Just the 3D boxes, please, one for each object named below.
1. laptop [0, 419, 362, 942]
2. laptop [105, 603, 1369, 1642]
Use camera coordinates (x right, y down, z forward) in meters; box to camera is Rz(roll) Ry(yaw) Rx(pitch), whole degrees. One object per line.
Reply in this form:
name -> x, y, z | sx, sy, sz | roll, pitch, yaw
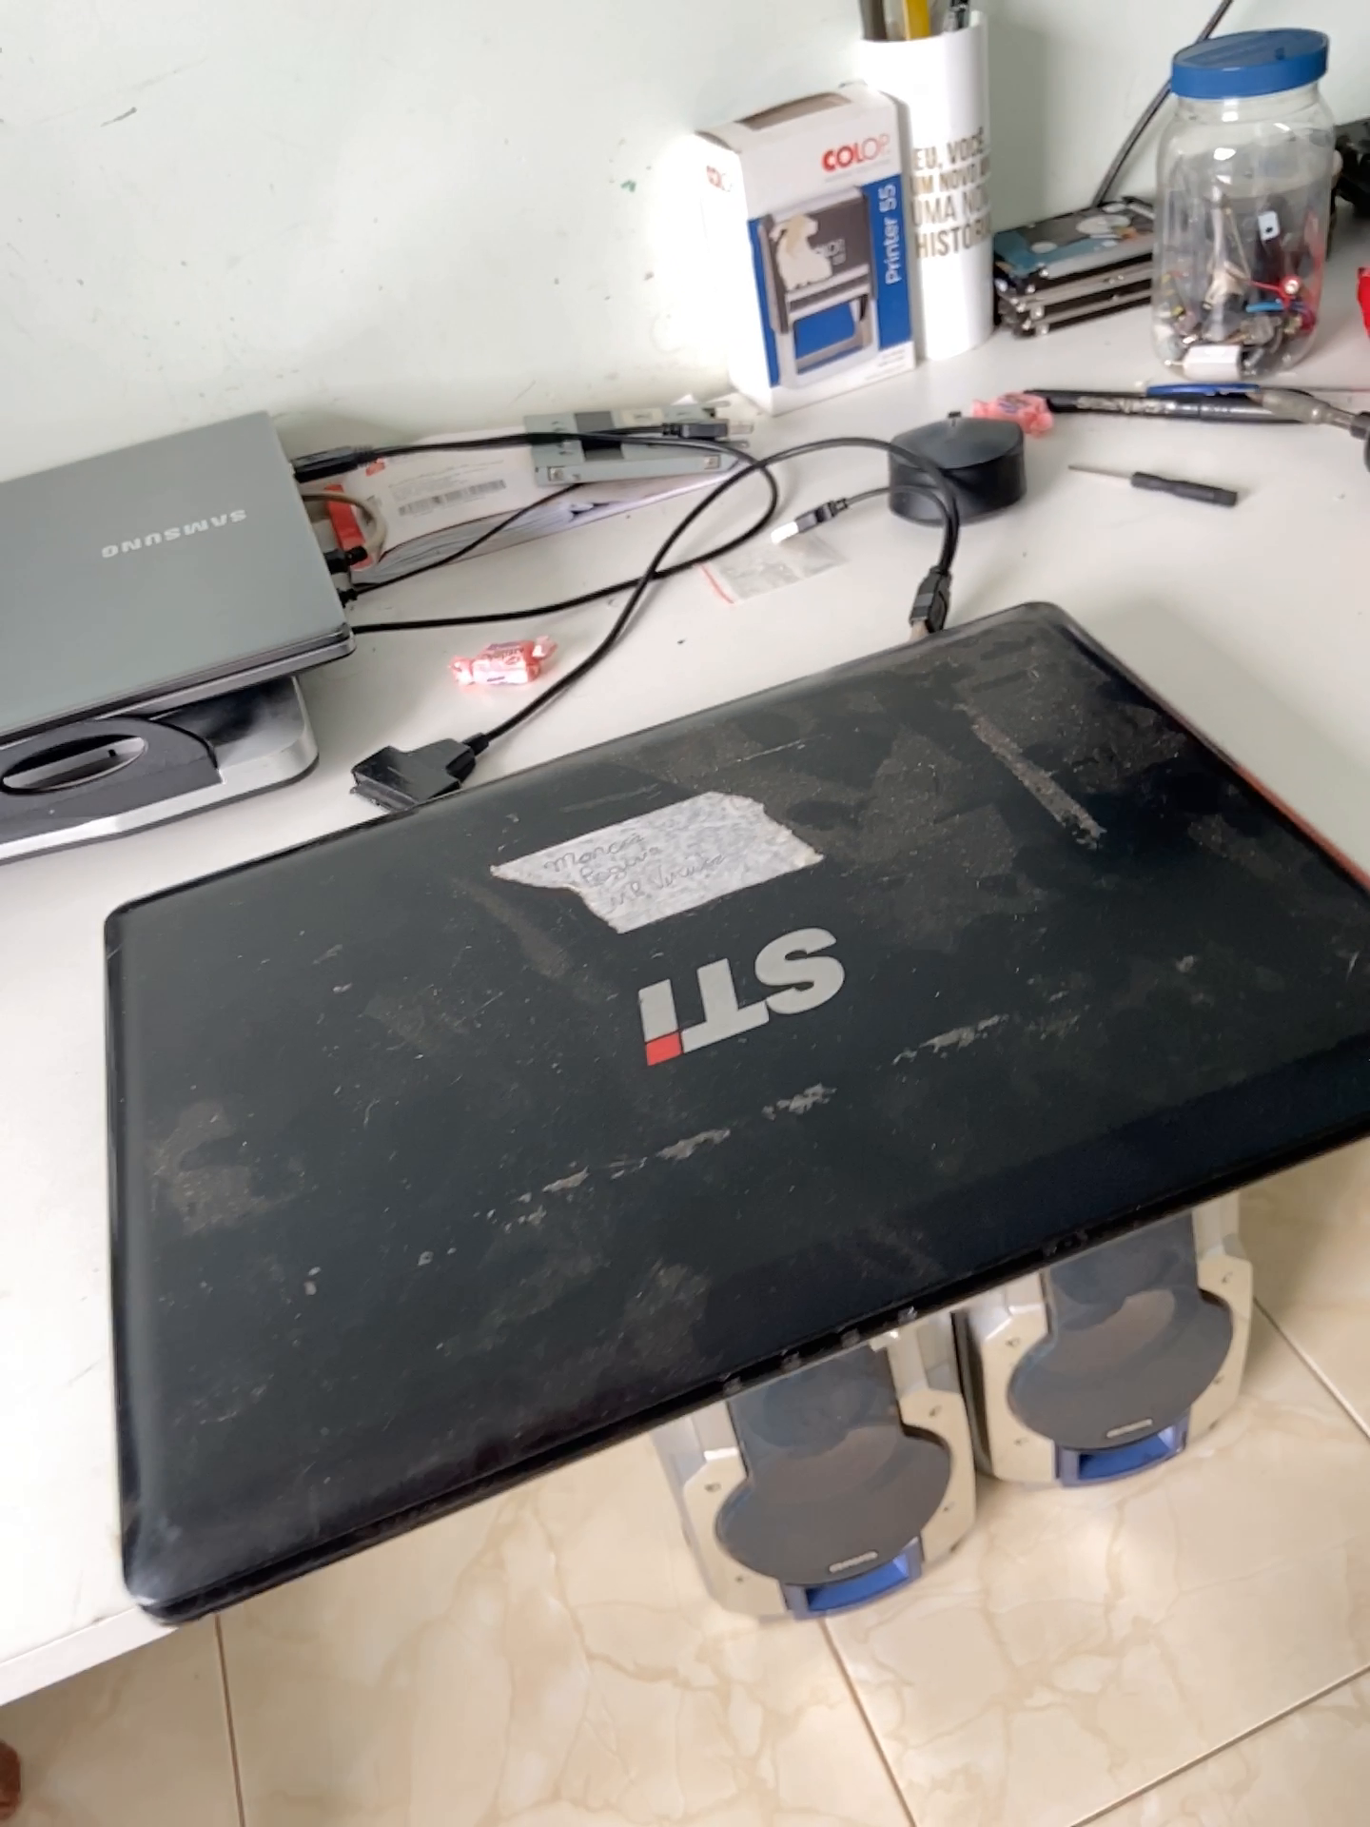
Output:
laptop -> -0.323, -0.117, 0.574 | 0.344, 0.006, 0.228 | -21, 42, -13
laptop -> 0.009, 0.021, 0.398 | 0.337, 0.011, 0.231 | -19, 43, -8
